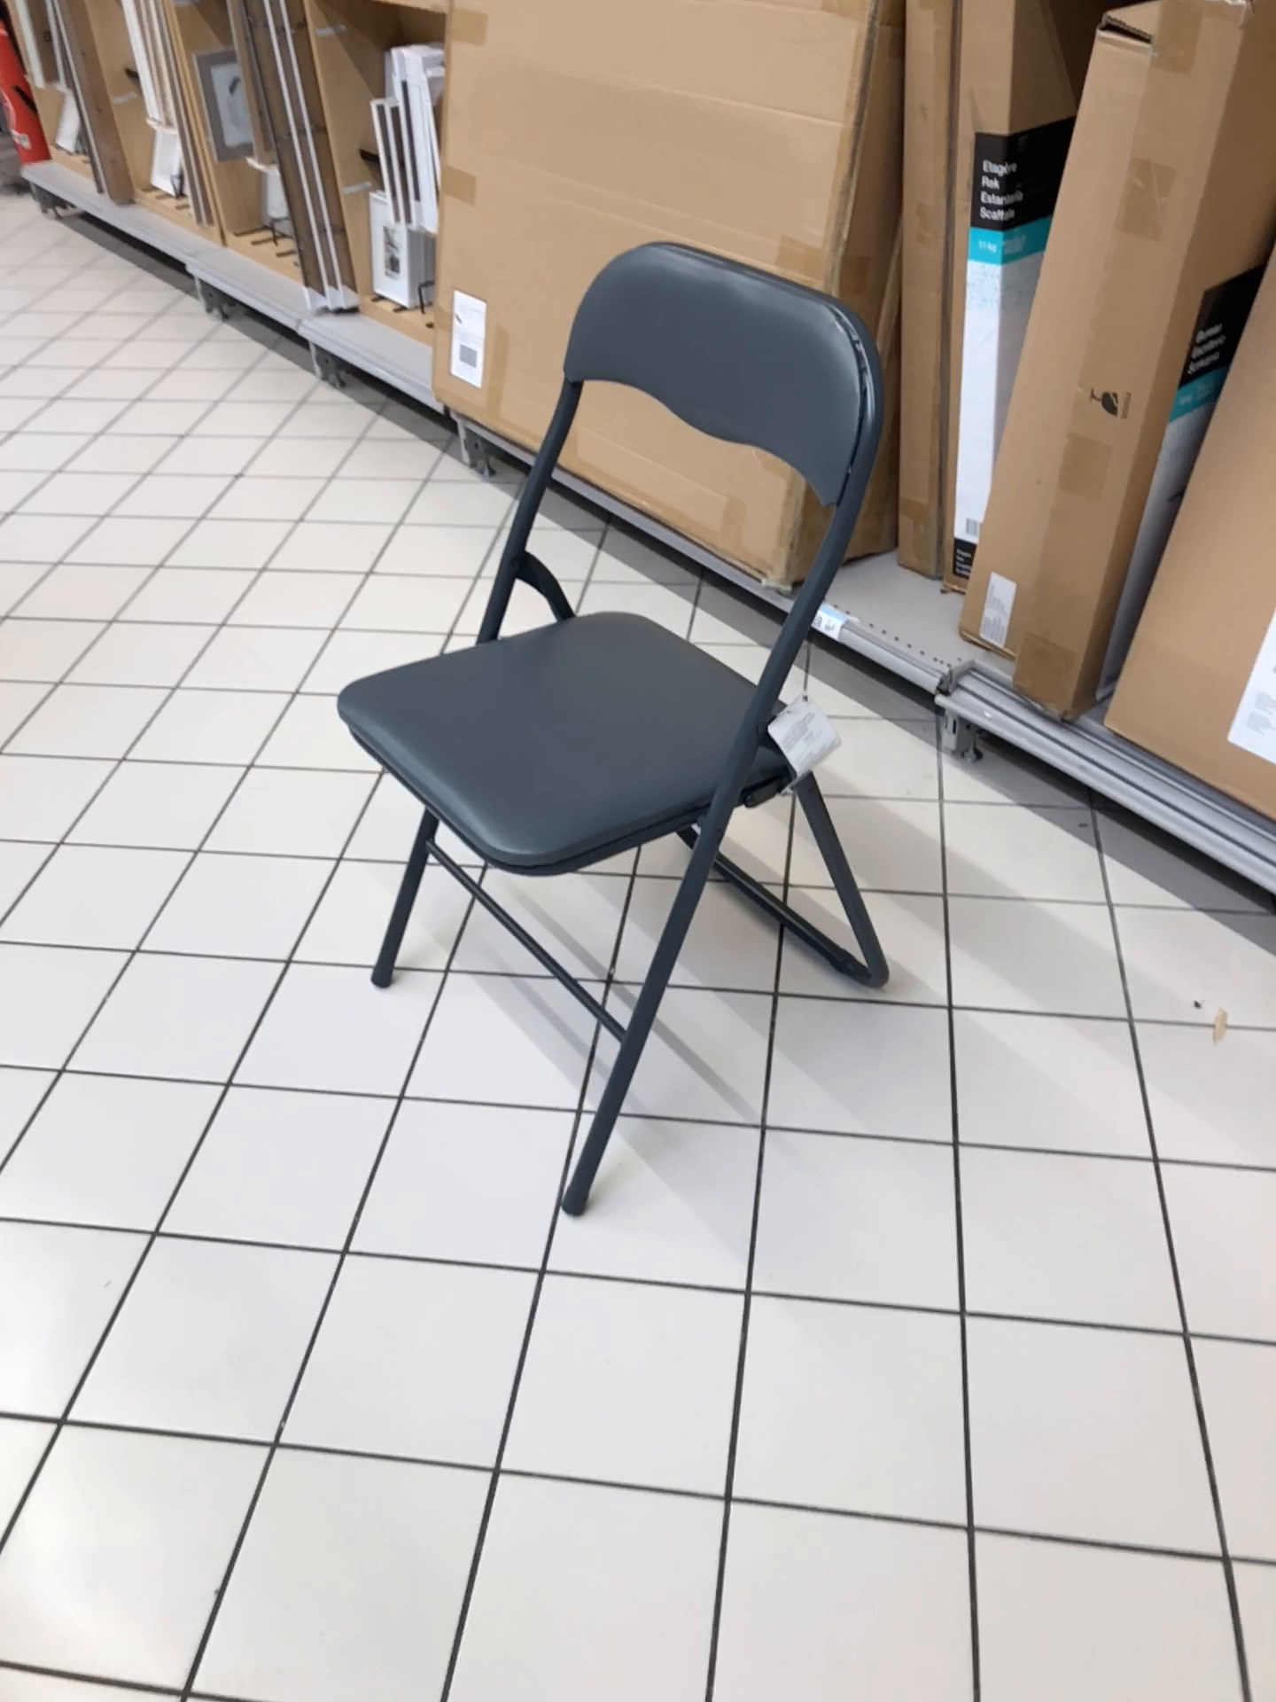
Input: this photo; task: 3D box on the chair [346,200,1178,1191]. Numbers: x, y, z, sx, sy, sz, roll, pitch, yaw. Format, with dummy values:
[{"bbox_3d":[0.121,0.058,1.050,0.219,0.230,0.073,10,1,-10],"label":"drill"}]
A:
[{"bbox_3d":[0.096,-0.182,1.471,0.502,0.755,0.551,-24,44,-26],"label":"chair"}]
